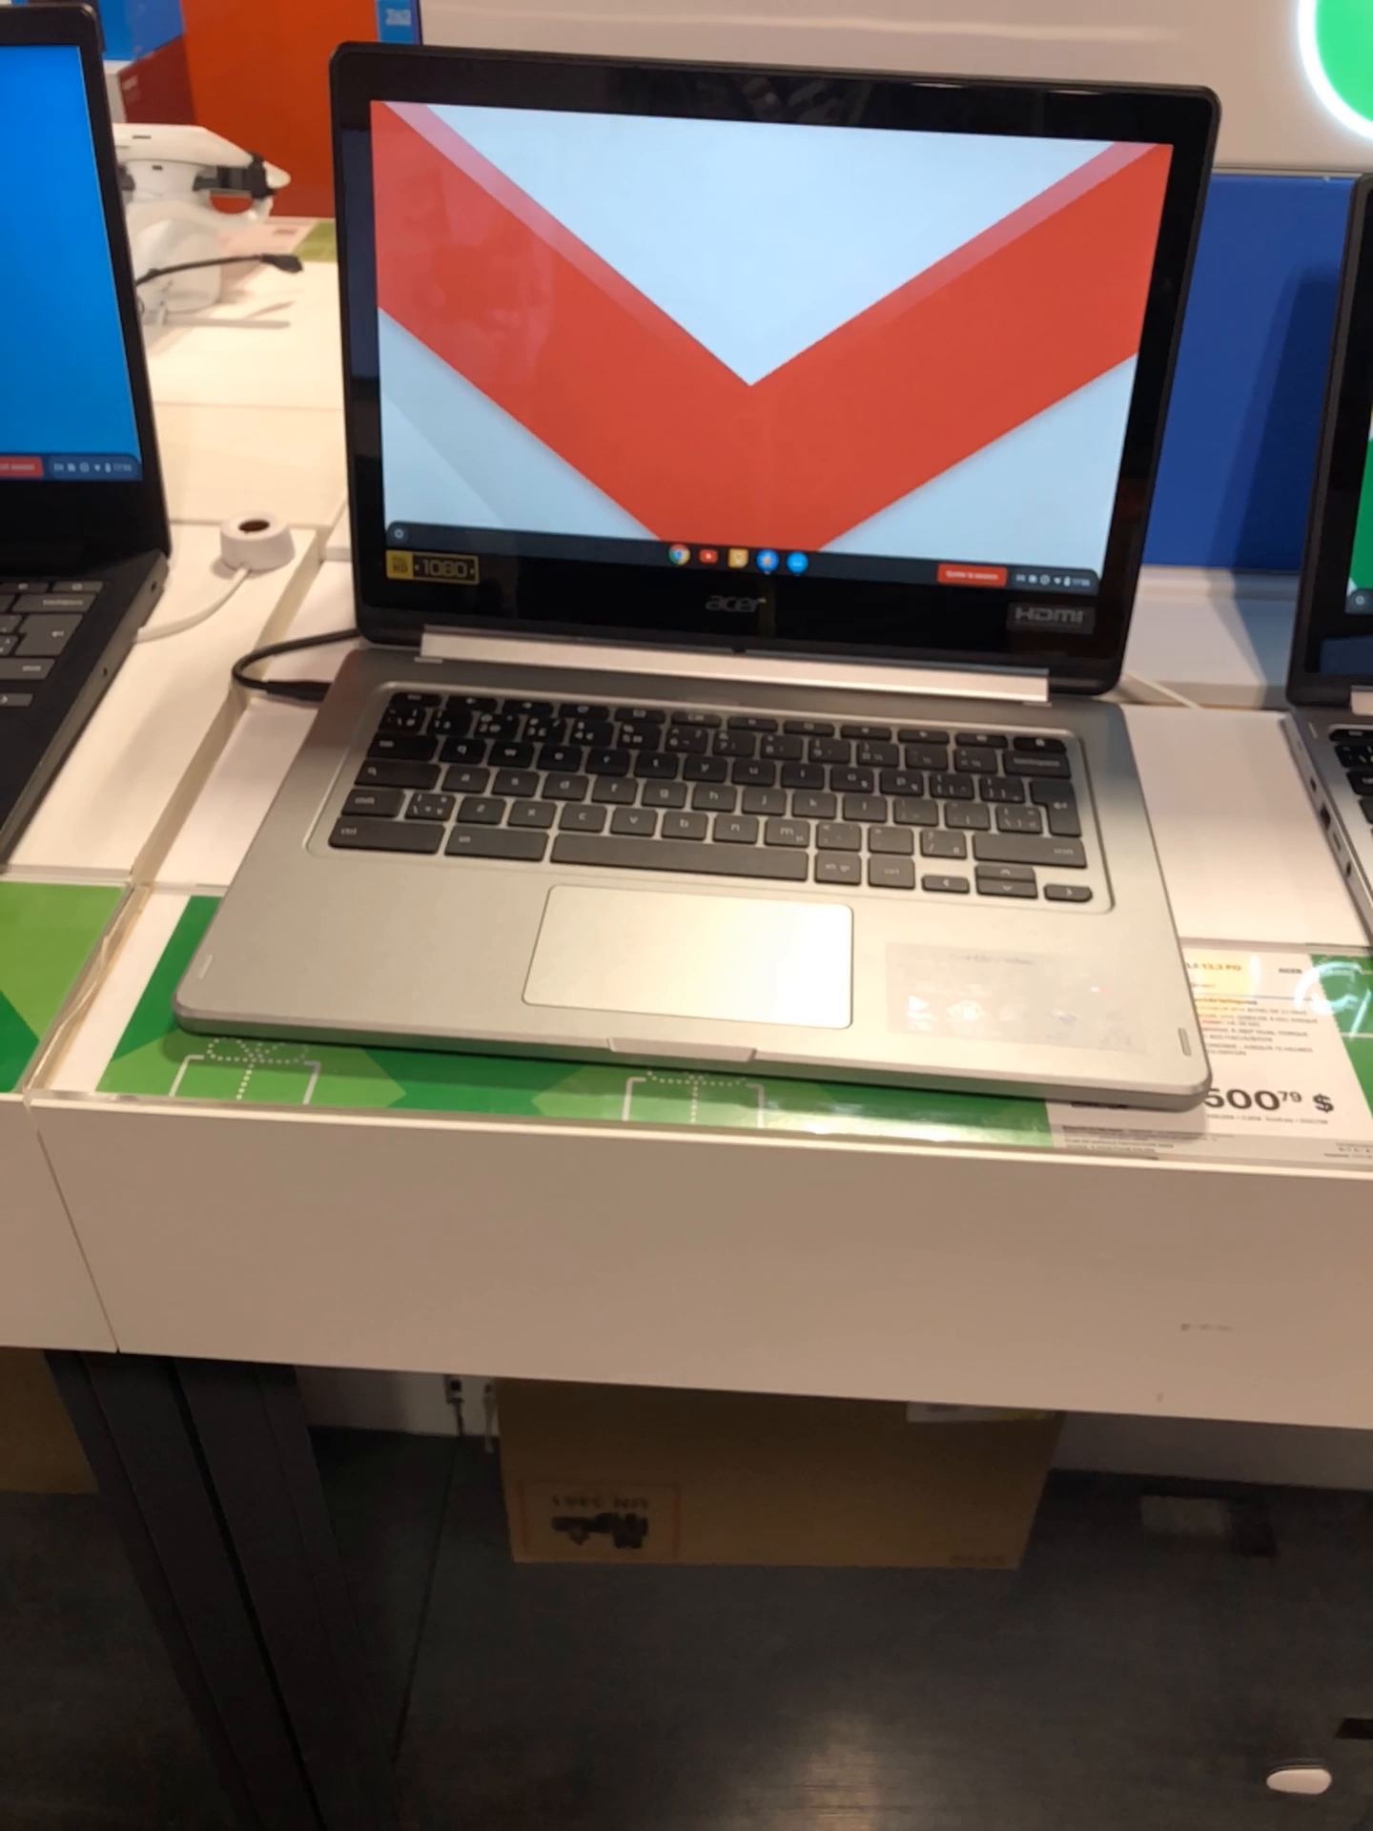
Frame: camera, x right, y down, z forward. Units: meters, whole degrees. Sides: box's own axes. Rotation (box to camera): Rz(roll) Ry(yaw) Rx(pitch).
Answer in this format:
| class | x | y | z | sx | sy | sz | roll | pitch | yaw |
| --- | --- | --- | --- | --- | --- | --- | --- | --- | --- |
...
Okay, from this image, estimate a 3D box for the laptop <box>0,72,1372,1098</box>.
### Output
| class | x | y | z | sx | sy | sz | roll | pitch | yaw |
| --- | --- | --- | --- | --- | --- | --- | --- | --- | --- |
| laptop | 0.010 | -0.118 | 0.491 | 0.317 | 0.226 | 0.240 | 4 | 38 | 3 |
